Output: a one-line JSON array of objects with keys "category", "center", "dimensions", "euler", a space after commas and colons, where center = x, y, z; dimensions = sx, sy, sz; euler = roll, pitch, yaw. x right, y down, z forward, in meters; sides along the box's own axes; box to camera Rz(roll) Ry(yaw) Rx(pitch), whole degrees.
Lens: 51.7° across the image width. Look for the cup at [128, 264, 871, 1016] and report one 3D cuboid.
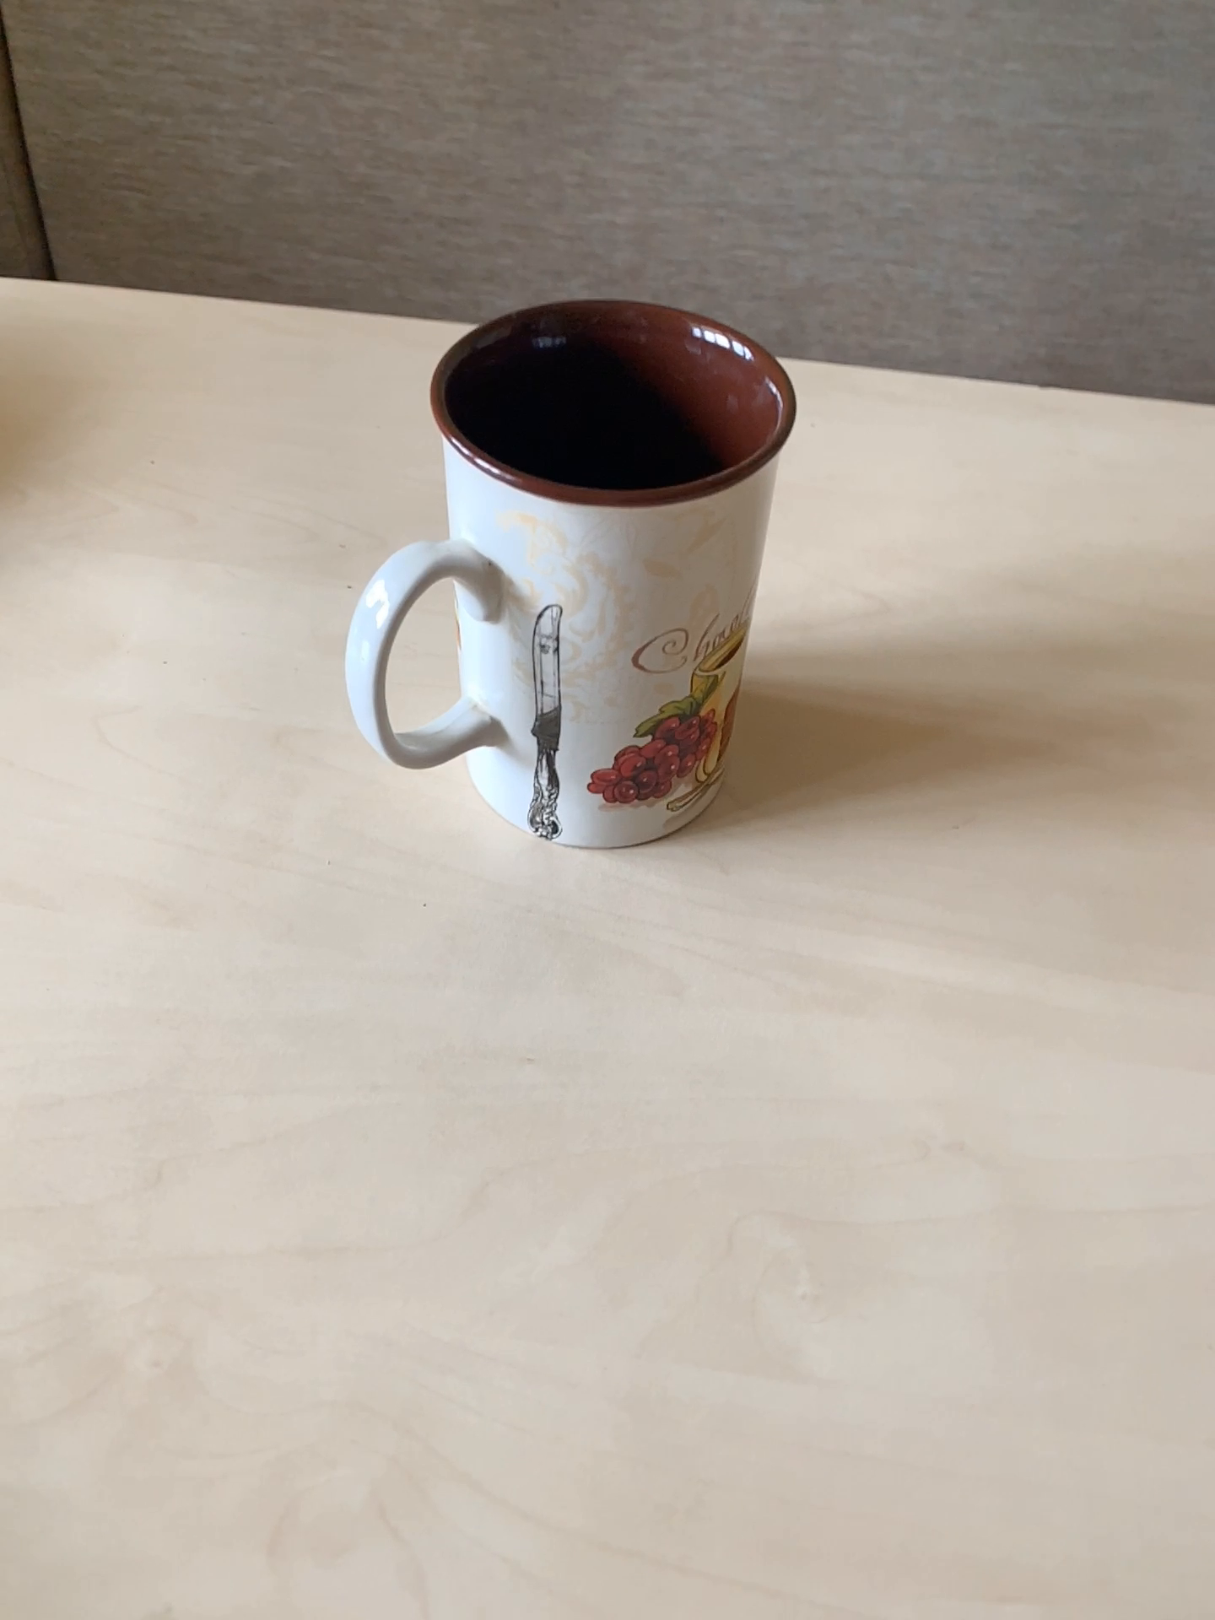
[{"category": "cup", "center": [-0.022, -0.045, 0.307], "dimensions": [0.130, 0.110, 0.090], "euler": [-34, 57, -29]}]
